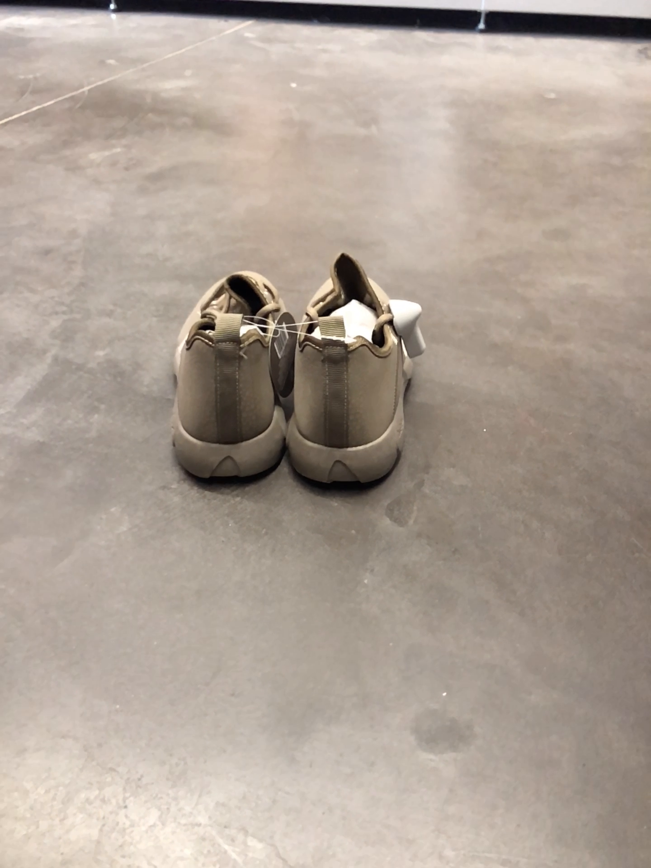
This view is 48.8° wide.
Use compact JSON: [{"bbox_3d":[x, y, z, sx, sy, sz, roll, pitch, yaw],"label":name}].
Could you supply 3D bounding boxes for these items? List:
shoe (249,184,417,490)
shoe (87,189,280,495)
[{"bbox_3d":[0.005,-0.082,0.515,0.090,0.109,0.241,-1,38,0],"label":"shoe"},{"bbox_3d":[-0.090,-0.081,0.525,0.100,0.109,0.241,-3,38,-3],"label":"shoe"}]
